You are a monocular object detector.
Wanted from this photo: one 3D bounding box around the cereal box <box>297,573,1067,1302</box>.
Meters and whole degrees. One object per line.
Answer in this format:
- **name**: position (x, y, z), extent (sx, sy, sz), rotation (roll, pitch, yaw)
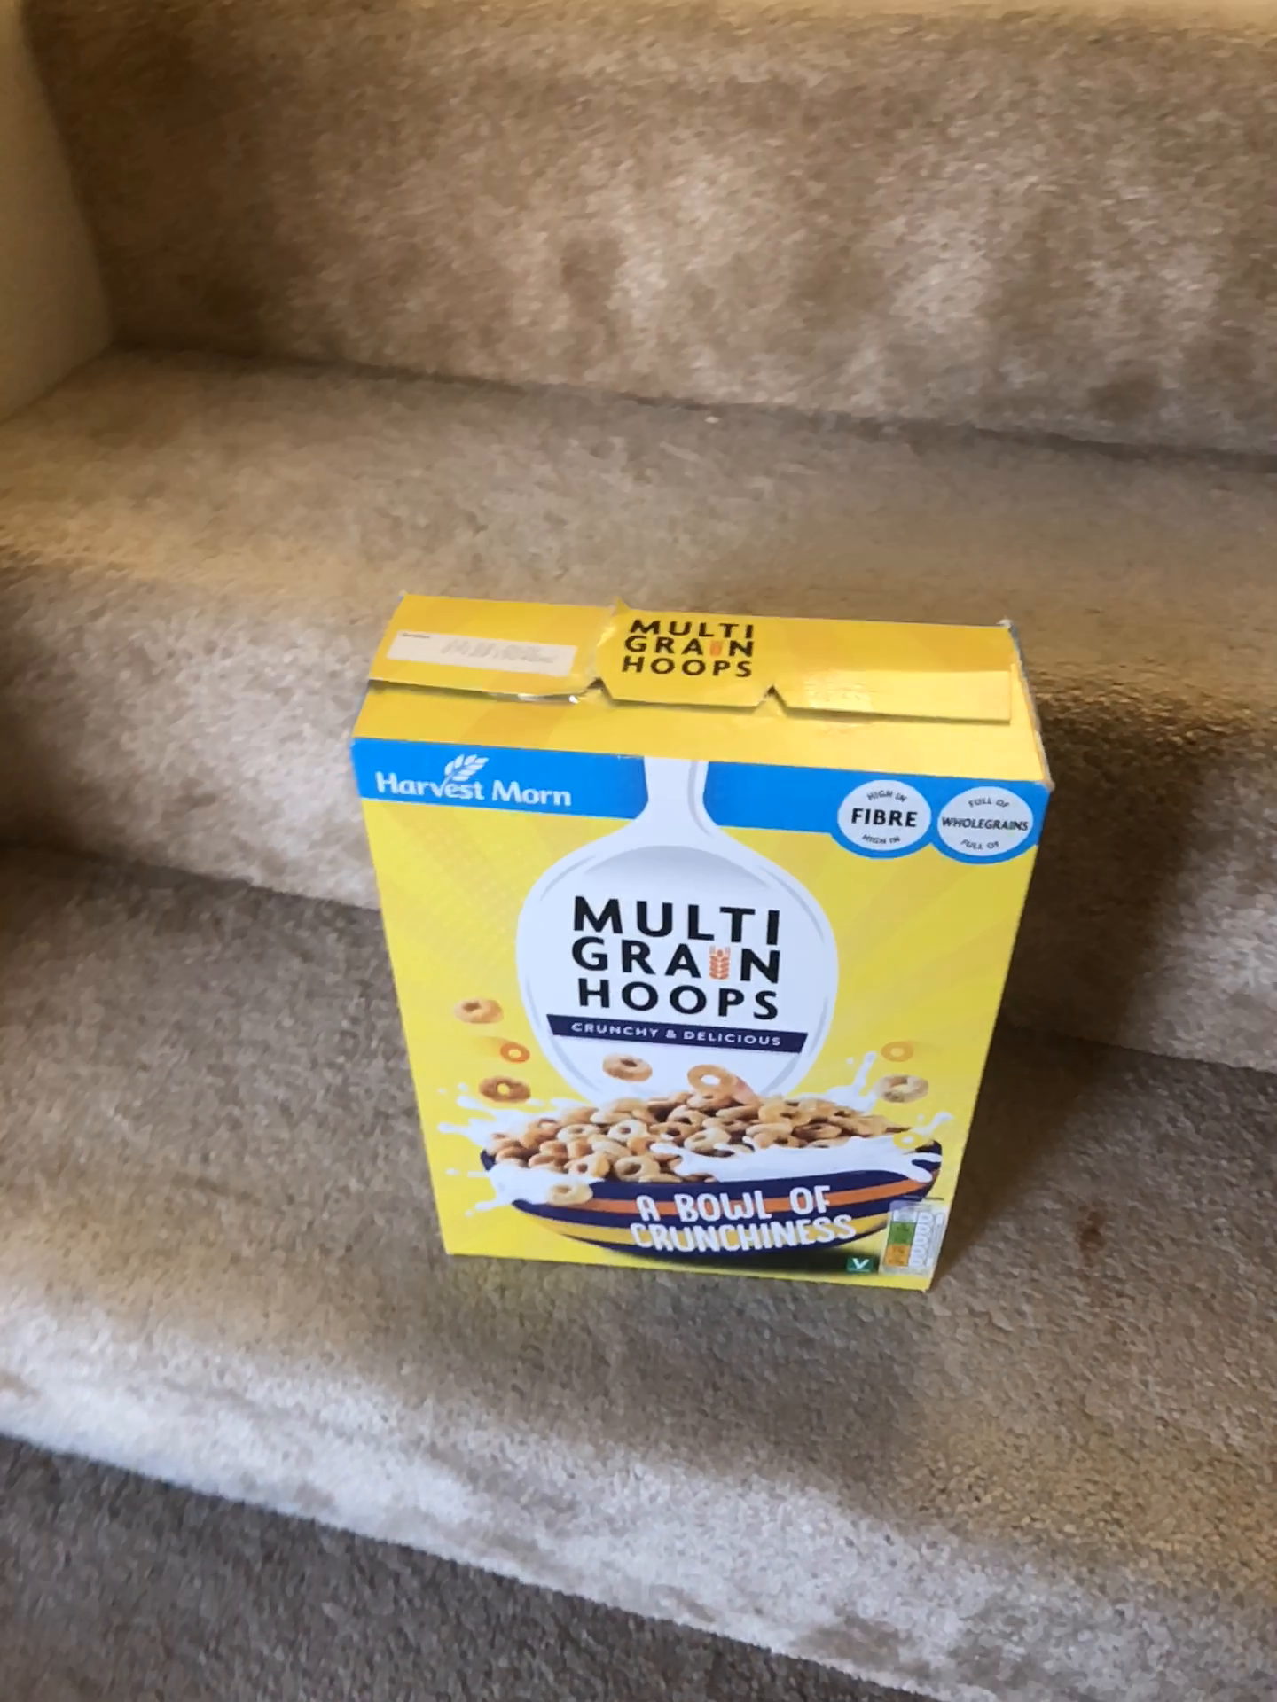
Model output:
- **cereal box**: position (0.015, 0.041, 0.484), extent (0.200, 0.248, 0.091), rotation (3, 43, 5)
